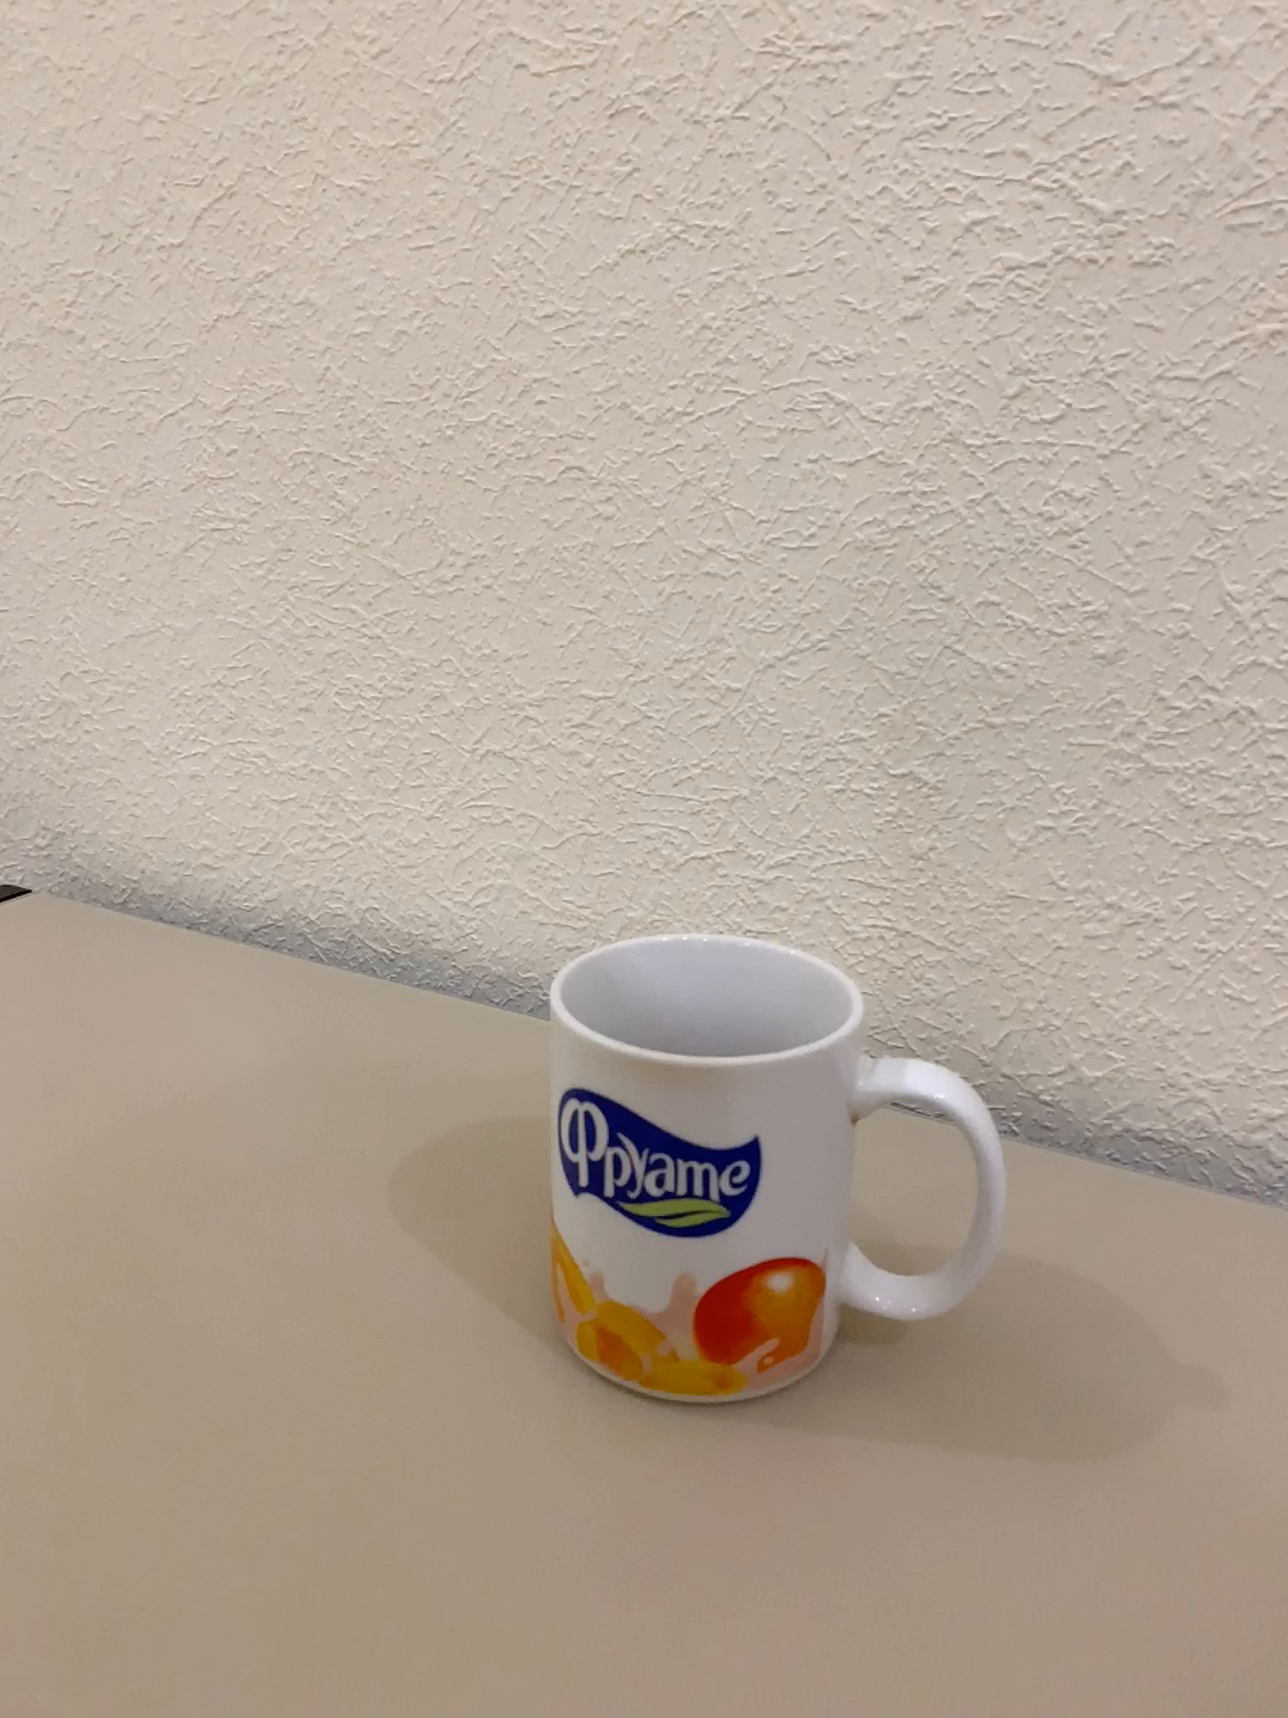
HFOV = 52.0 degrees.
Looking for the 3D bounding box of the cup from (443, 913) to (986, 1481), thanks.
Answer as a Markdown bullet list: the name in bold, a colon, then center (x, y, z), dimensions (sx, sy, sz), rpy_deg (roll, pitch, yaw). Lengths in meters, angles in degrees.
- **cup**: center (0.020, 0.077, 0.334), dimensions (0.116, 0.092, 0.081), rpy_deg (6, 18, 15)
